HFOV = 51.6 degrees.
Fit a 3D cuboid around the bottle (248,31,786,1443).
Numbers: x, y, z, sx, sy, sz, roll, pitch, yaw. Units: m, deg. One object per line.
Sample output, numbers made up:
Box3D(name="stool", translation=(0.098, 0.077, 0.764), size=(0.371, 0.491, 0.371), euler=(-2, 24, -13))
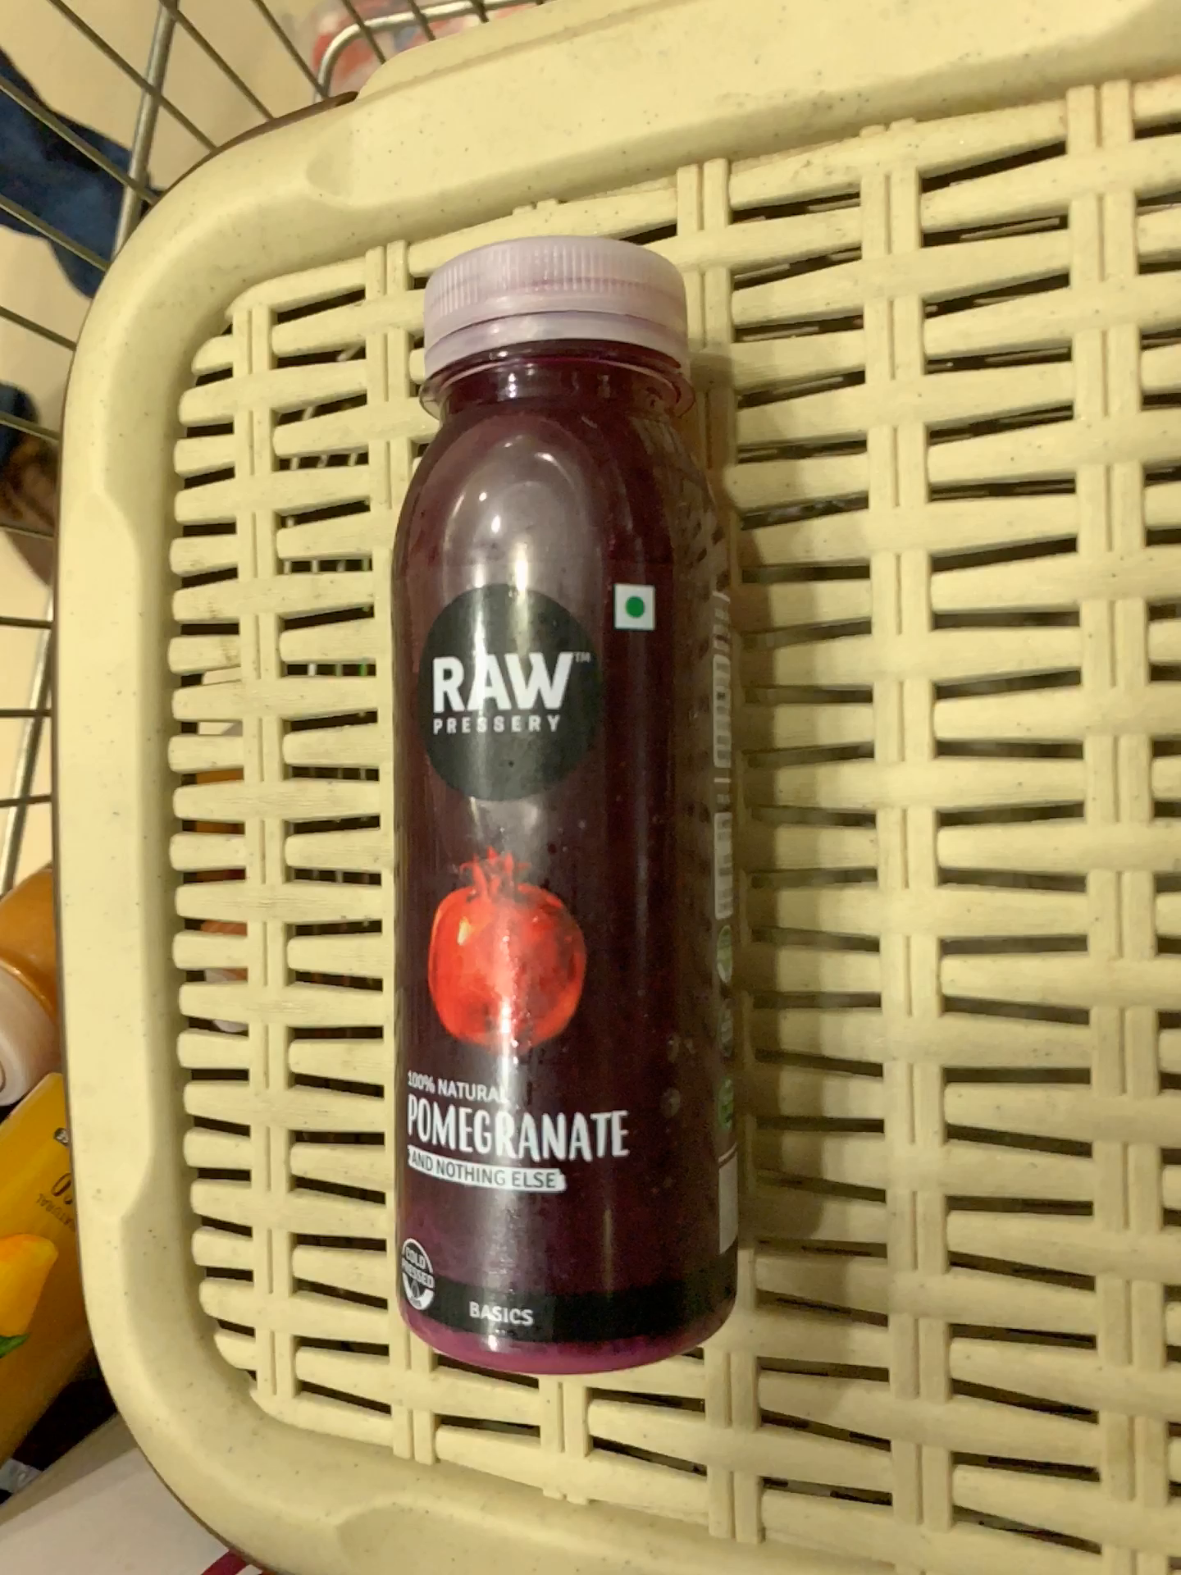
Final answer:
Box3D(name="bottle", translation=(-0.007, -0.005, 0.173), size=(0.060, 0.050, 0.160), euler=(0, 91, 21))
